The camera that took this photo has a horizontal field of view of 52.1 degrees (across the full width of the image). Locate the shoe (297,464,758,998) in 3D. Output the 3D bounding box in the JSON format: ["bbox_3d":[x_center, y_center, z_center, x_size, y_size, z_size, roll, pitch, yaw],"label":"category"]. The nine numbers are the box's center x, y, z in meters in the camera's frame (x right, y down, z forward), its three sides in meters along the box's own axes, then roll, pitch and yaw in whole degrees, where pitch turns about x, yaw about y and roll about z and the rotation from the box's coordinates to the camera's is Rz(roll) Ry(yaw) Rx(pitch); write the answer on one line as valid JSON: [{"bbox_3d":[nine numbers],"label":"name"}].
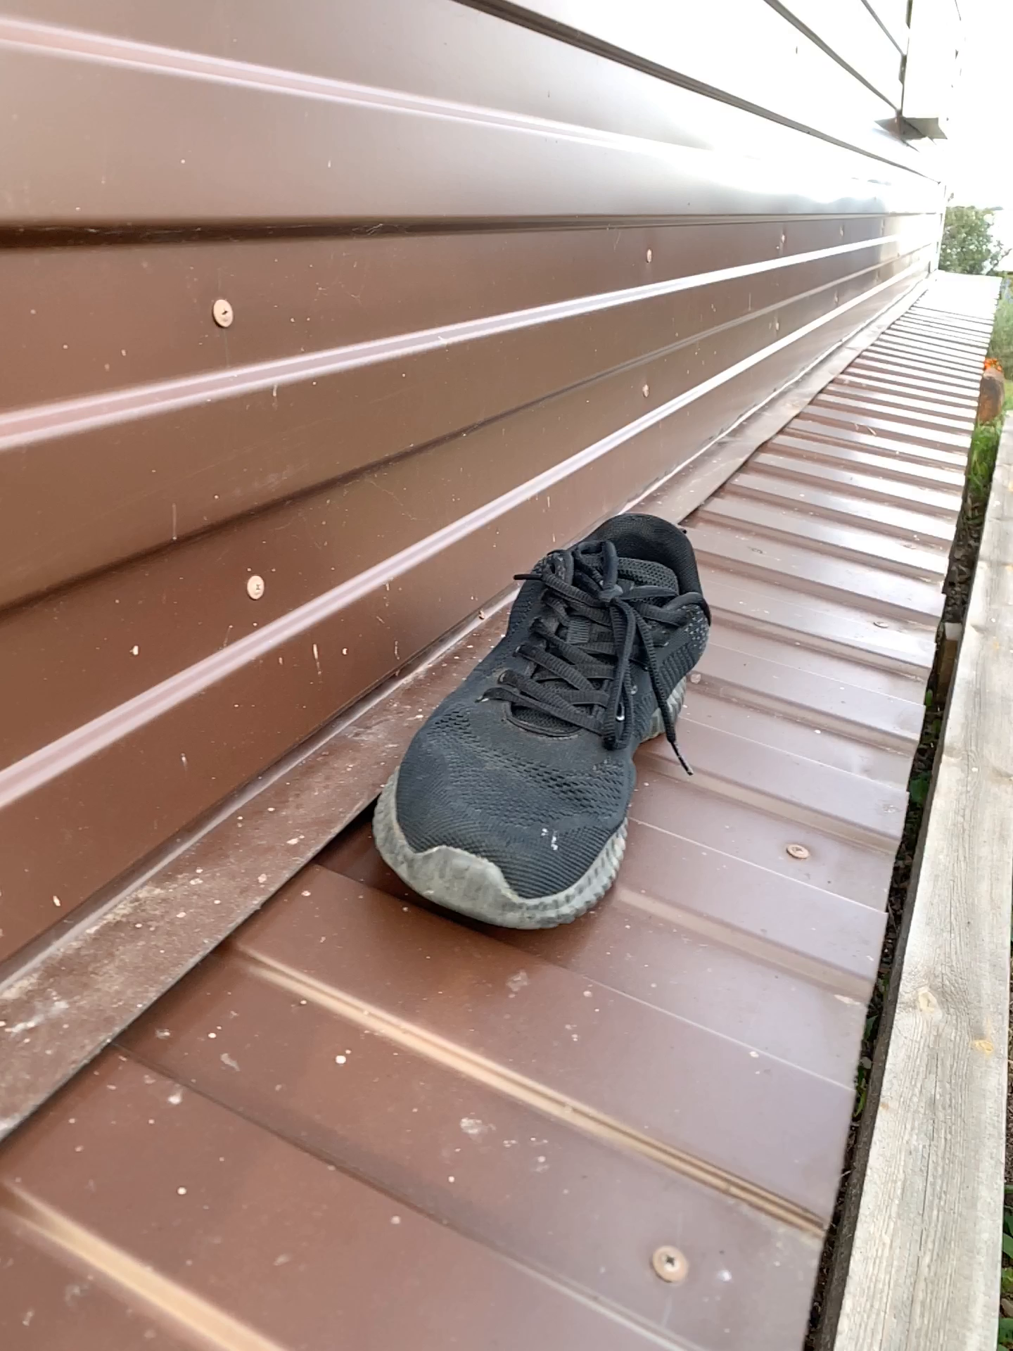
[{"bbox_3d":[0.031,-0.003,0.515,0.120,0.119,0.302,18,27,14],"label":"shoe"}]
